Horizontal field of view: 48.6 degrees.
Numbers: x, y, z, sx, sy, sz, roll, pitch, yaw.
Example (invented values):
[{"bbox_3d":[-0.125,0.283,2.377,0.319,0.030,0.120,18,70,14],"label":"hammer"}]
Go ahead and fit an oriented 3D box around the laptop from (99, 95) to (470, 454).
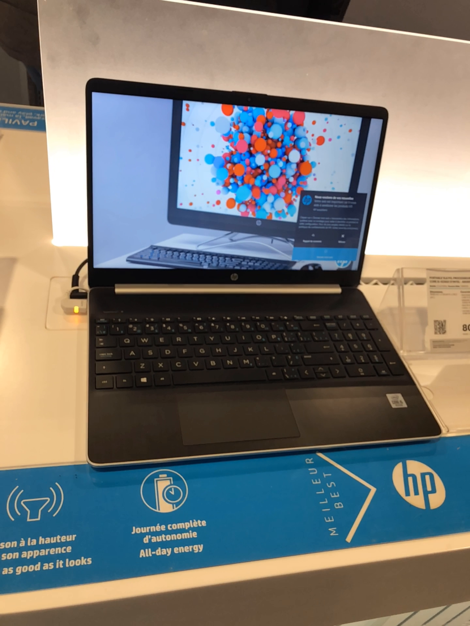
[{"bbox_3d":[0.036,-0.056,0.537,0.336,0.206,0.317,0,39,-14],"label":"laptop"}]
